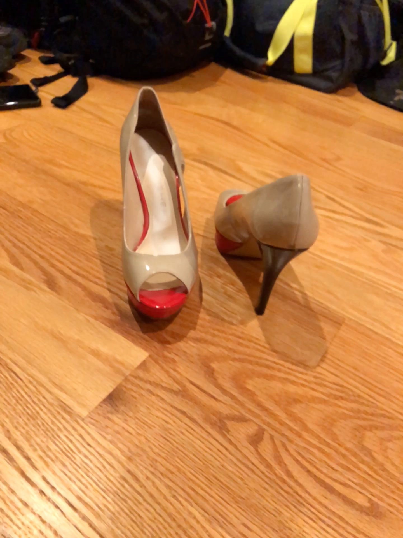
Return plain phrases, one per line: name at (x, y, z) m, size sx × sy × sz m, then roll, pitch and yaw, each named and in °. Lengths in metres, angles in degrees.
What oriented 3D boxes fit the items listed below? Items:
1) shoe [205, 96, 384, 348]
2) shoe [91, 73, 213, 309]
shoe at (0.070, -0.057, 0.454) m, size 0.080 × 0.149 × 0.221 m, roll -1°, pitch 41°, yaw -11°
shoe at (-0.055, -0.085, 0.436) m, size 0.085 × 0.129 × 0.216 m, roll 0°, pitch 41°, yaw -10°
